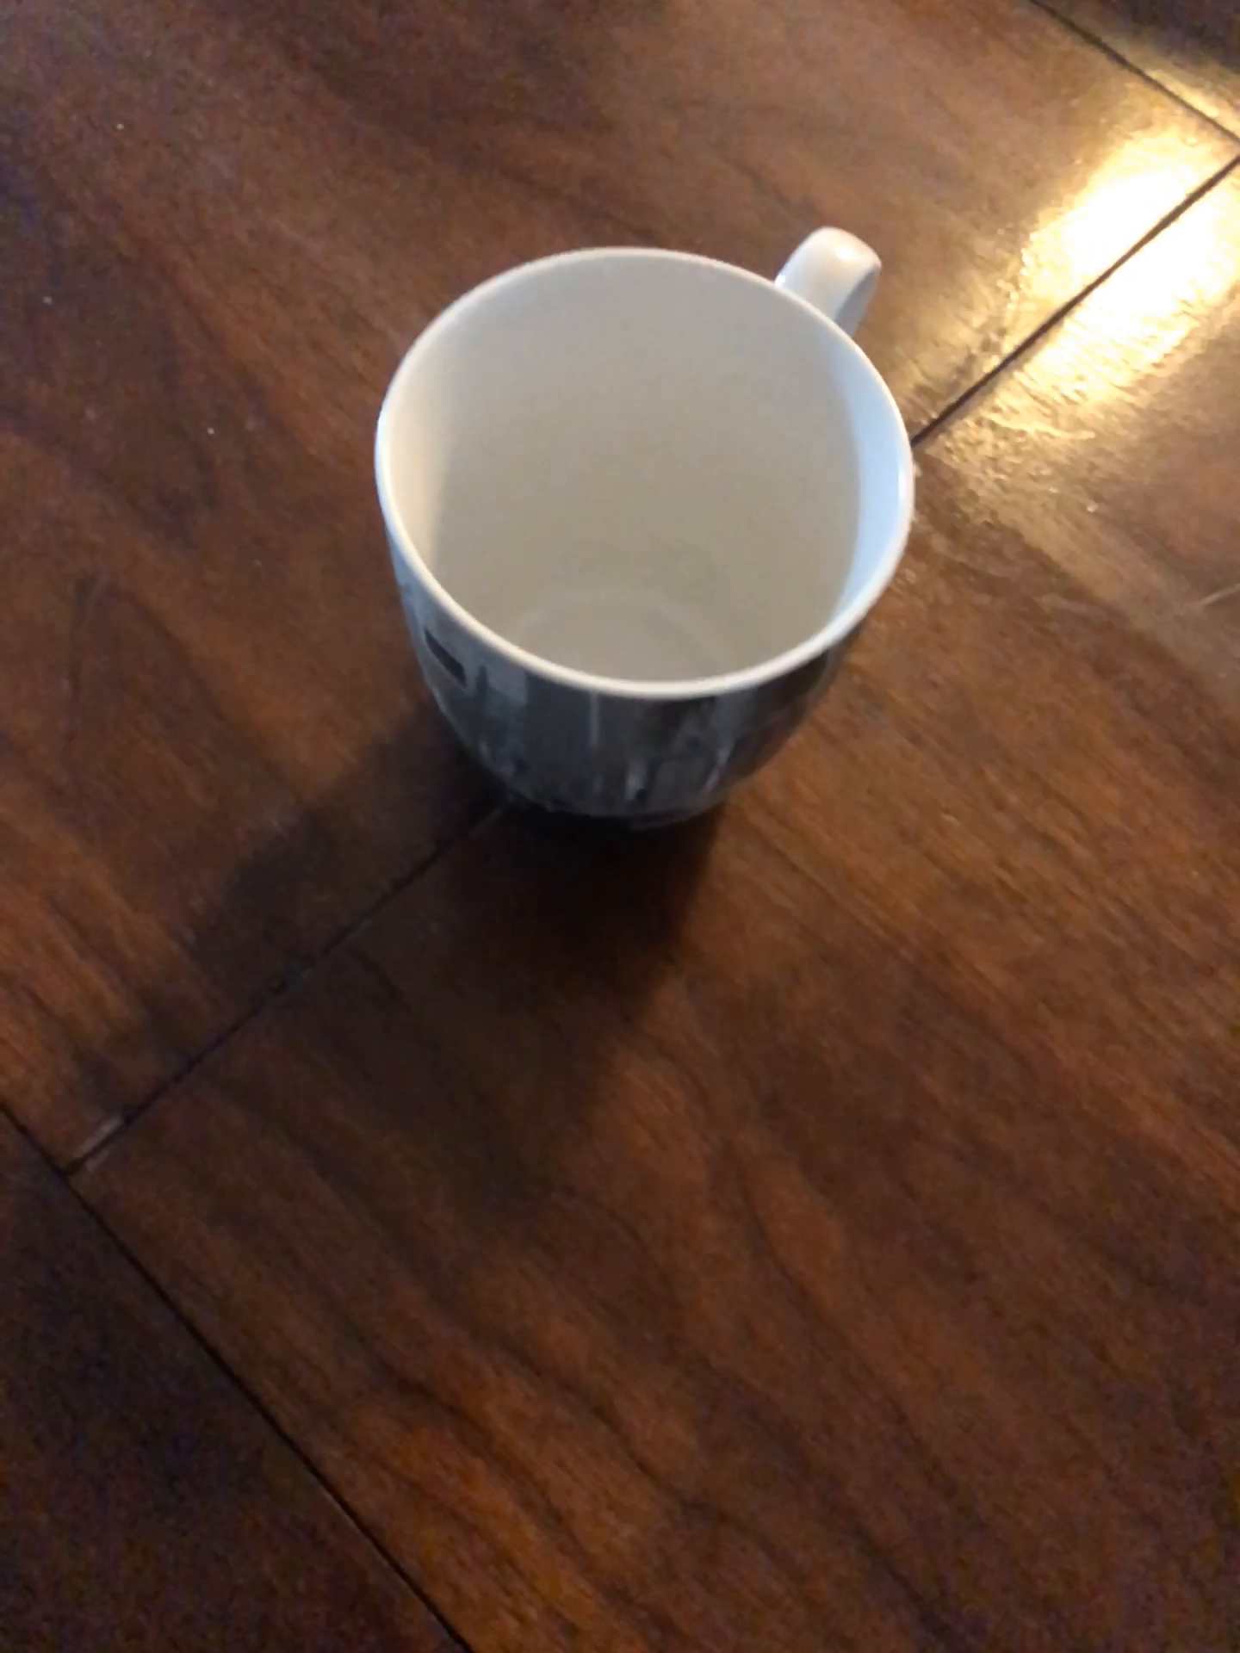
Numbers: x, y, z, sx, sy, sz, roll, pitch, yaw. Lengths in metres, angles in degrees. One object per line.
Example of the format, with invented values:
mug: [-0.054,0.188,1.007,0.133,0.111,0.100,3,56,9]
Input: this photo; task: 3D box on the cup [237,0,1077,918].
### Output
cup: [0.010,-0.075,0.284,0.100,0.080,0.140,26,67,6]
